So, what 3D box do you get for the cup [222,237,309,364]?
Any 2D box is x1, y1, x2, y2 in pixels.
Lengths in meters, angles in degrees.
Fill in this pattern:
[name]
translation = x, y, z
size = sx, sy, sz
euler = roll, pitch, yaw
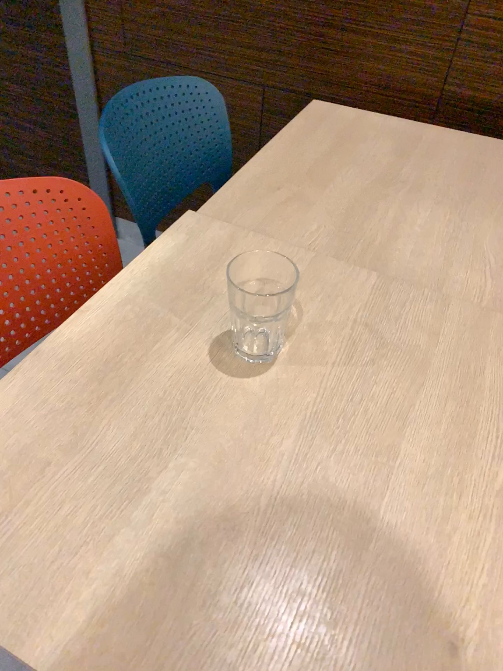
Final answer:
[cup]
translation = 0.010, -0.038, 0.590
size = 0.080, 0.119, 0.080
euler = 3, 45, -3
